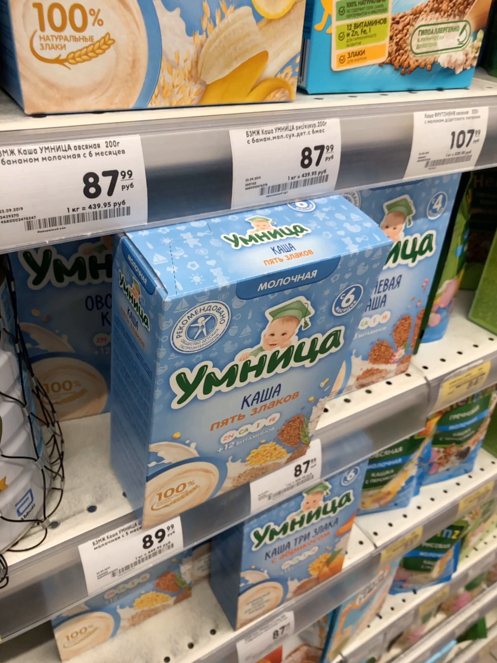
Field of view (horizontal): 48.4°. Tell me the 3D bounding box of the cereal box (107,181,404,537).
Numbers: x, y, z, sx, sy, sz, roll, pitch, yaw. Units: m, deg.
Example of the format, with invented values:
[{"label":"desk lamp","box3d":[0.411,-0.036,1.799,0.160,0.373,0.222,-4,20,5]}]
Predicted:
[{"label":"cereal box","box3d":[-0.010,0.024,0.346,0.140,0.209,0.060,-17,51,-29]}]
